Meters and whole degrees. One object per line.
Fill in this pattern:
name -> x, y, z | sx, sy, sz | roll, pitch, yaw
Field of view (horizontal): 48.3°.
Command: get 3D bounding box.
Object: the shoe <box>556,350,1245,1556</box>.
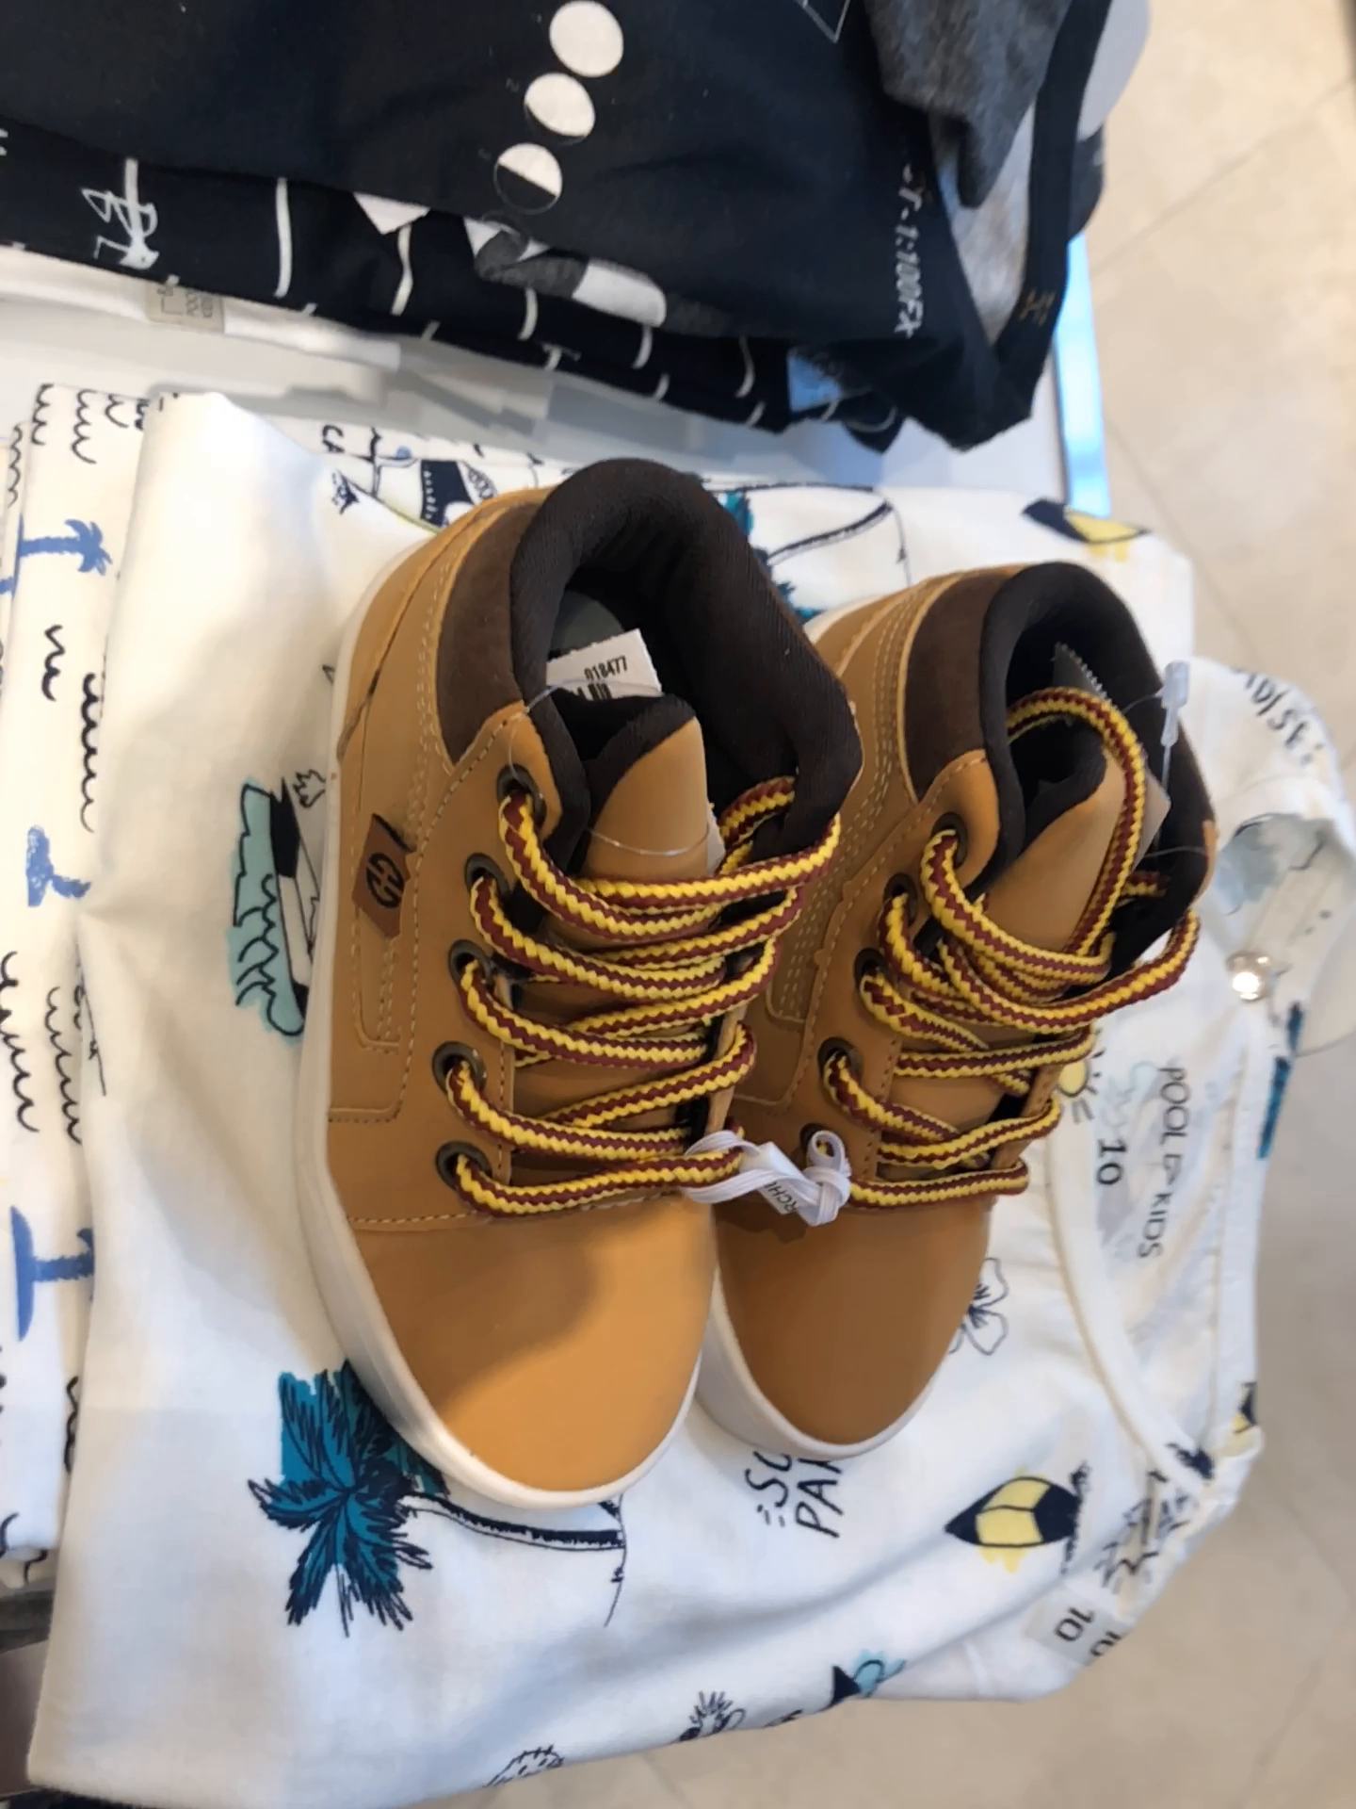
shoe -> 0.037, 0.011, 0.266 | 0.070, 0.090, 0.170 | 10, 79, -27

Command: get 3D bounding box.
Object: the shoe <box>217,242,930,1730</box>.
shoe -> -0.022, 0.010, 0.229 | 0.070, 0.090, 0.170 | -1, 86, -28
